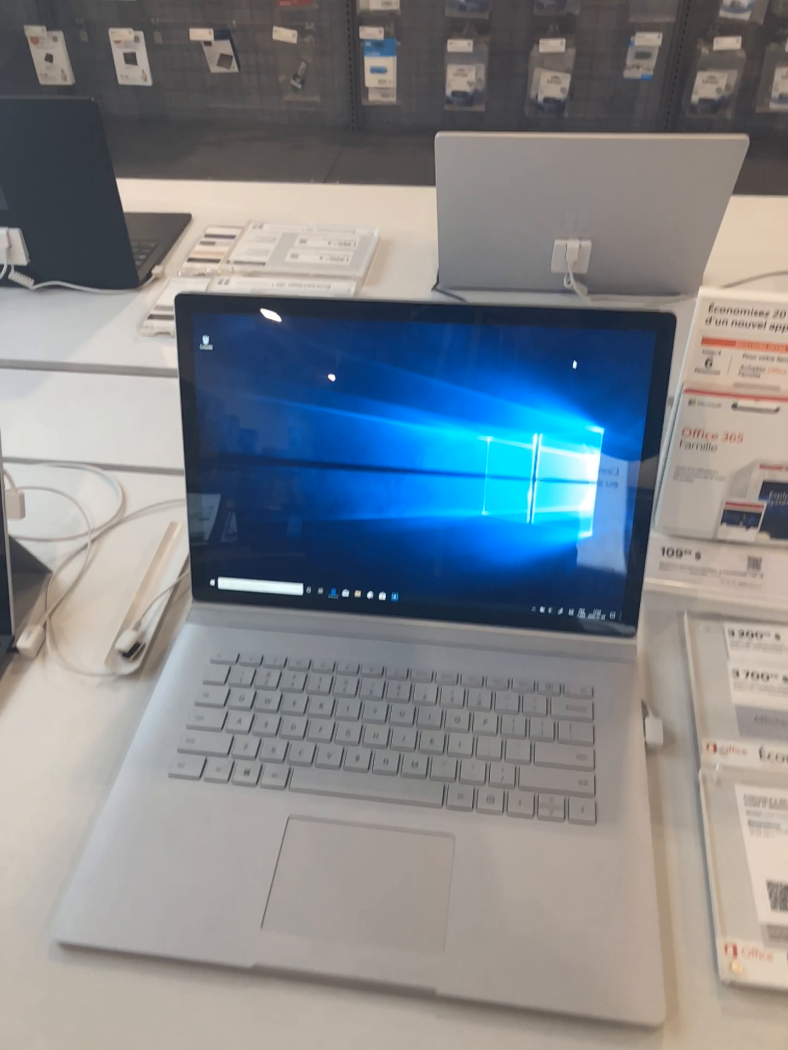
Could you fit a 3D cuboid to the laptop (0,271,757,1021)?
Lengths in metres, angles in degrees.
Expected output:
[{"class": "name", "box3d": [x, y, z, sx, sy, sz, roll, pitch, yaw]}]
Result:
[{"class": "laptop", "box3d": [-0.007, 0.042, 0.538, 0.338, 0.207, 0.366, 4, 45, 7]}]
